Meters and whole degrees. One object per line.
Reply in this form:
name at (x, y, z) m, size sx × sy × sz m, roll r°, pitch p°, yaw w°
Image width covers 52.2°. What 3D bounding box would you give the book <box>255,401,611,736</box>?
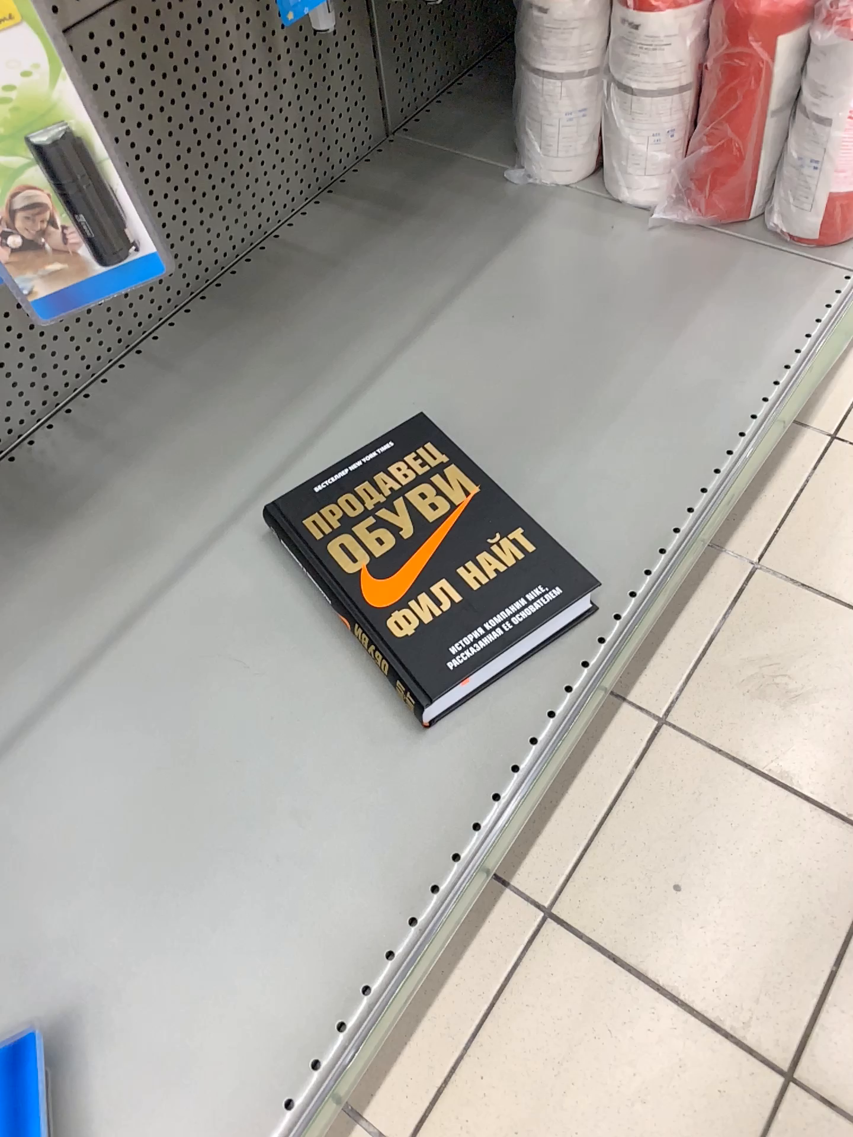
book at (-0.002, -0.014, 0.704) m, size 0.170 × 0.042 × 0.251 m, roll -32°, pitch 57°, yaw -15°
